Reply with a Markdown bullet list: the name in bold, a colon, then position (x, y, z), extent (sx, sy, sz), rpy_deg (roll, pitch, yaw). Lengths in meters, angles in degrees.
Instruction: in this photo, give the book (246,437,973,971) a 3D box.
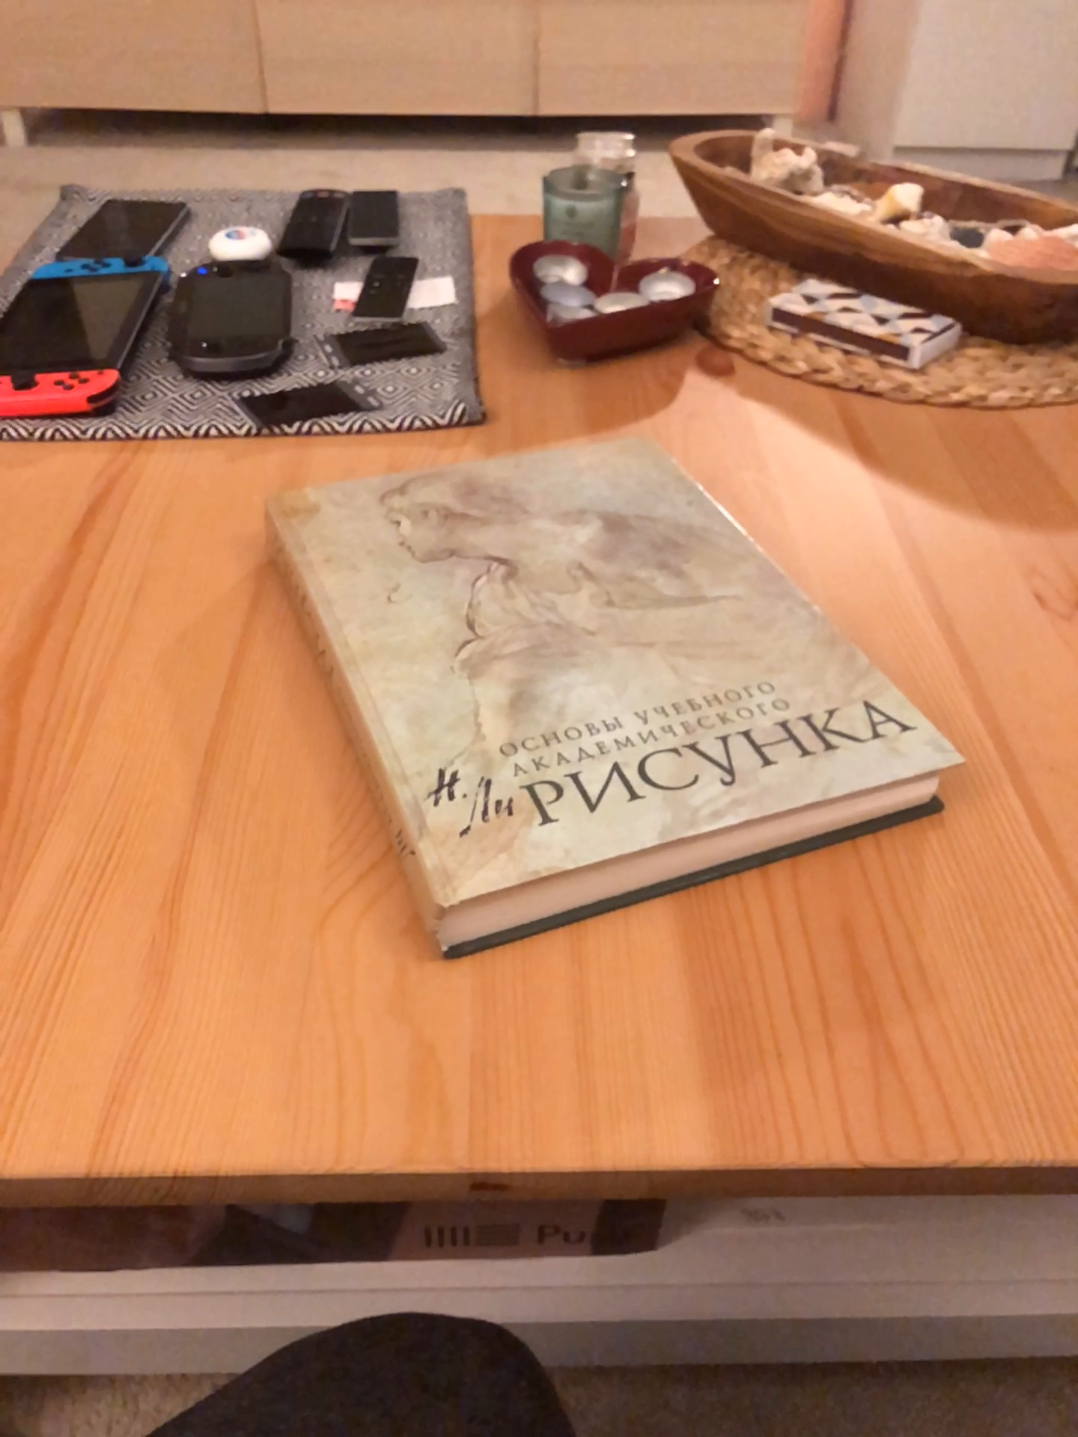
- **book**: position (0.011, -0.033, 0.516), extent (0.214, 0.030, 0.273), rpy_deg (-13, 42, -19)
